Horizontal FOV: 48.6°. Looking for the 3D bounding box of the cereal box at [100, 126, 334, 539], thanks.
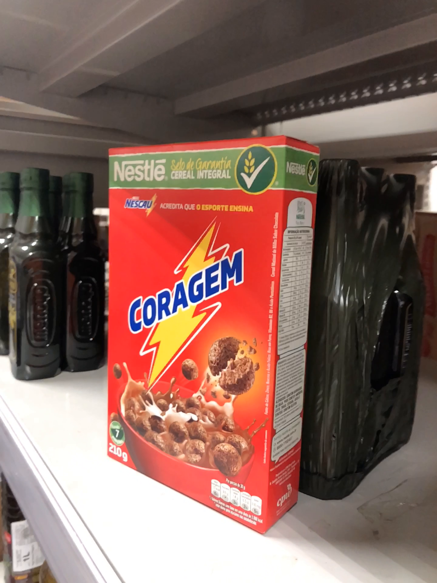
[{"bbox_3d":[-0.012,0.019,0.365,0.170,0.249,0.060,8,9,40],"label":"cereal box"}]
